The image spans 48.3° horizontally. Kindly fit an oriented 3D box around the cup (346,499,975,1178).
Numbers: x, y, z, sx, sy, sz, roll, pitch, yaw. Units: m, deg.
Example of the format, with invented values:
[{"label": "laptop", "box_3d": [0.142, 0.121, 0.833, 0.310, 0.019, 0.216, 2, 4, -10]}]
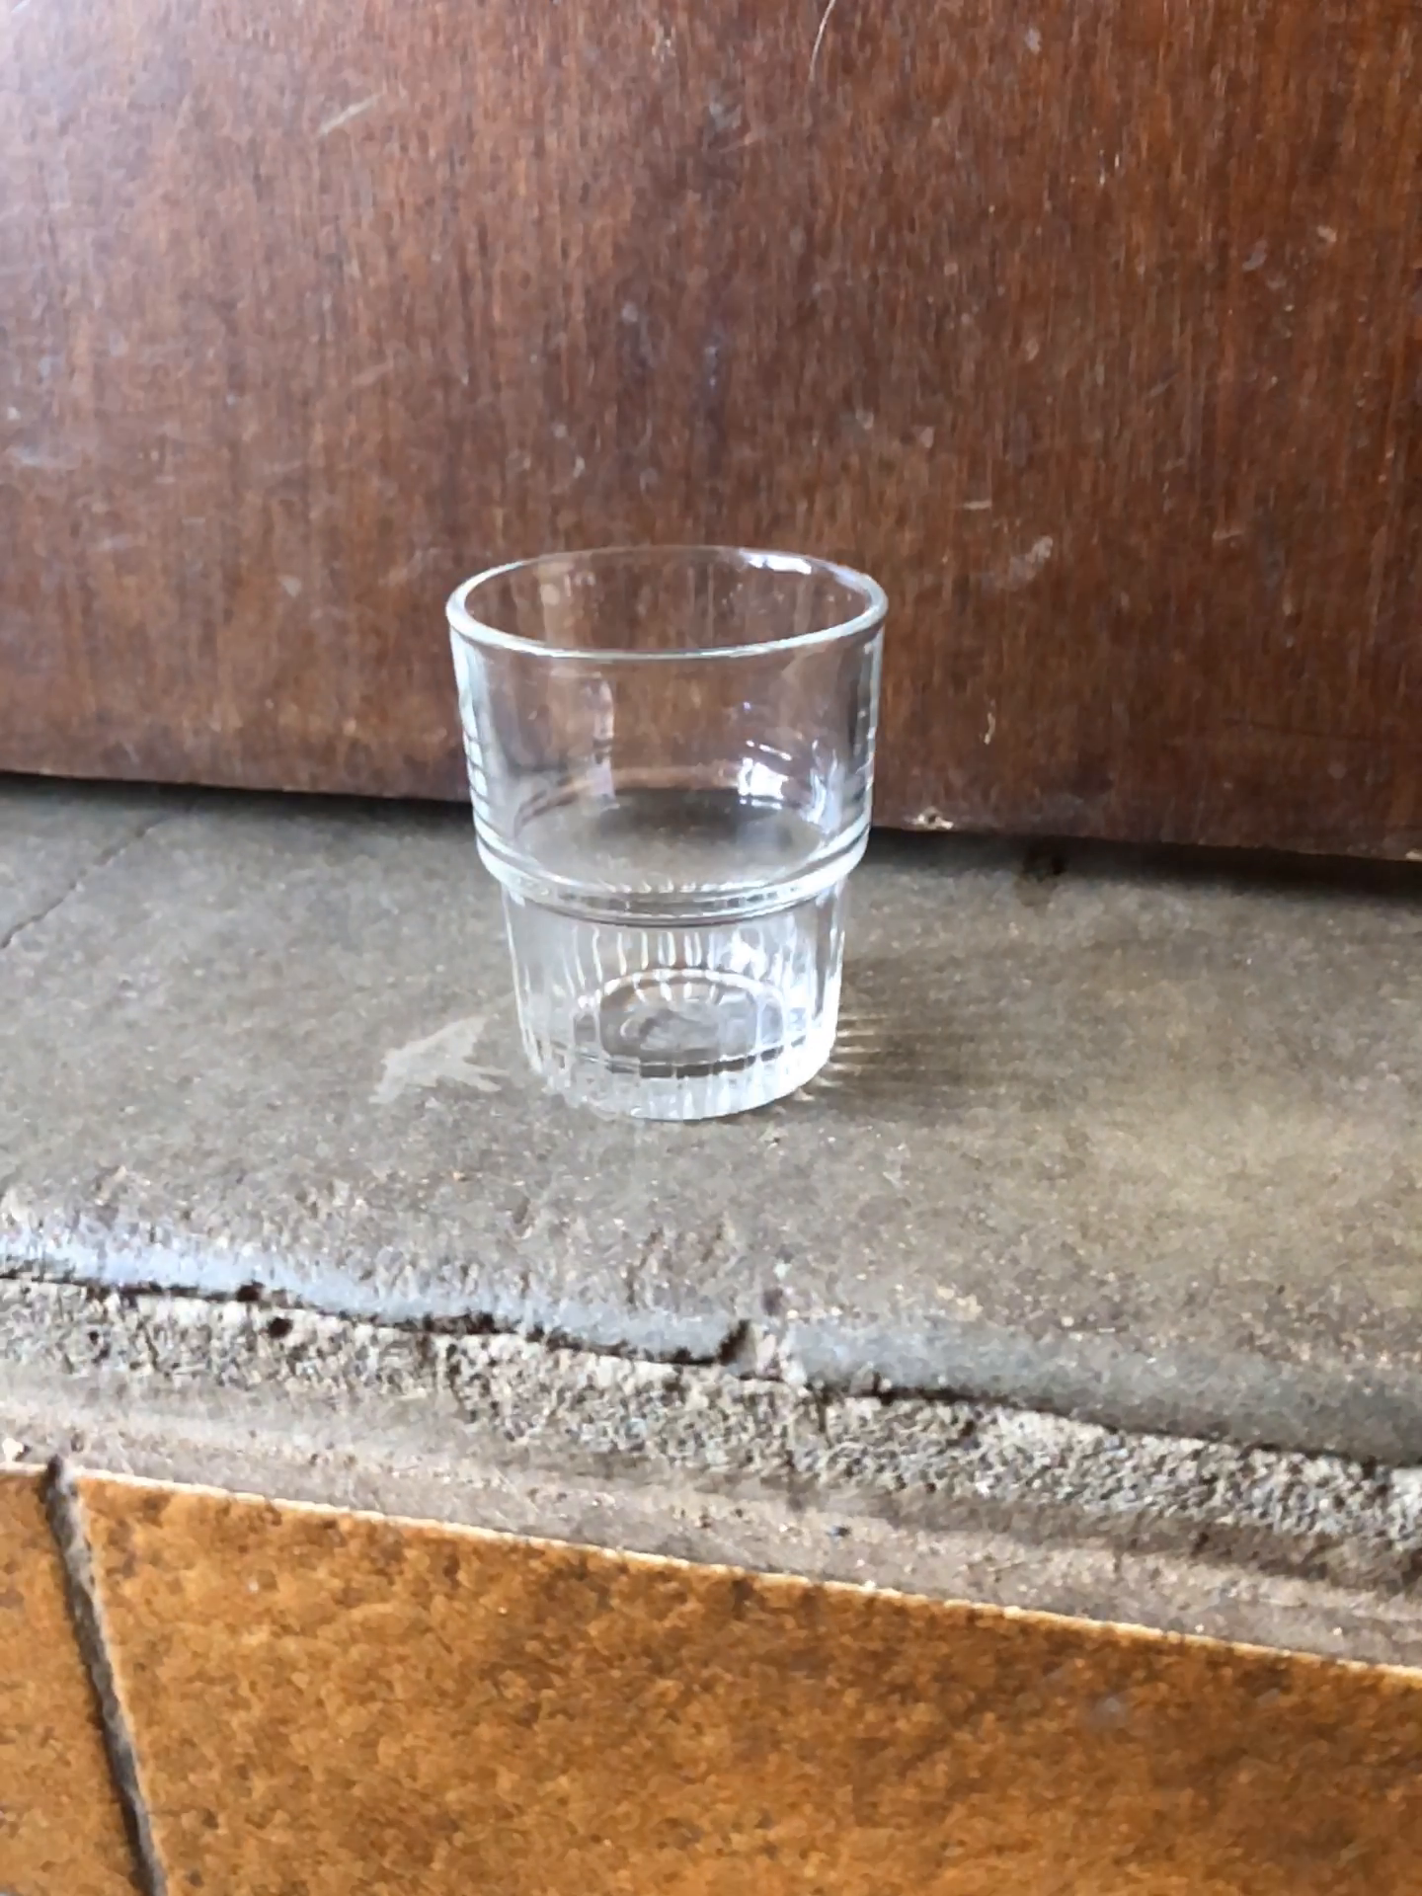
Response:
[{"label": "cup", "box_3d": [-0.004, -0.023, 0.256, 0.070, 0.080, 0.070, -1, 26, 0]}]
